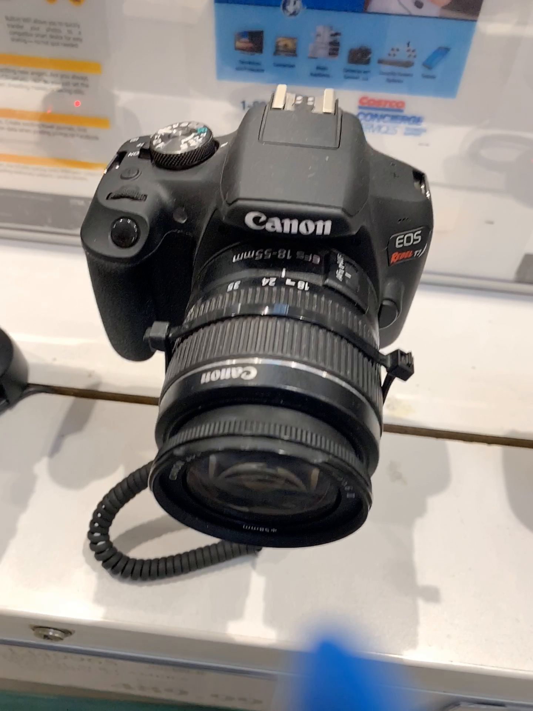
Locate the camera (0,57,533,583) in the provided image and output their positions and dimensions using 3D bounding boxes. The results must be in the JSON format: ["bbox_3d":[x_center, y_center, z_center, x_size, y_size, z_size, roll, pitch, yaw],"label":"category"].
[{"bbox_3d":[-0.001,-0.019,0.186,0.130,0.089,0.141,6,48,1],"label":"camera"}]
